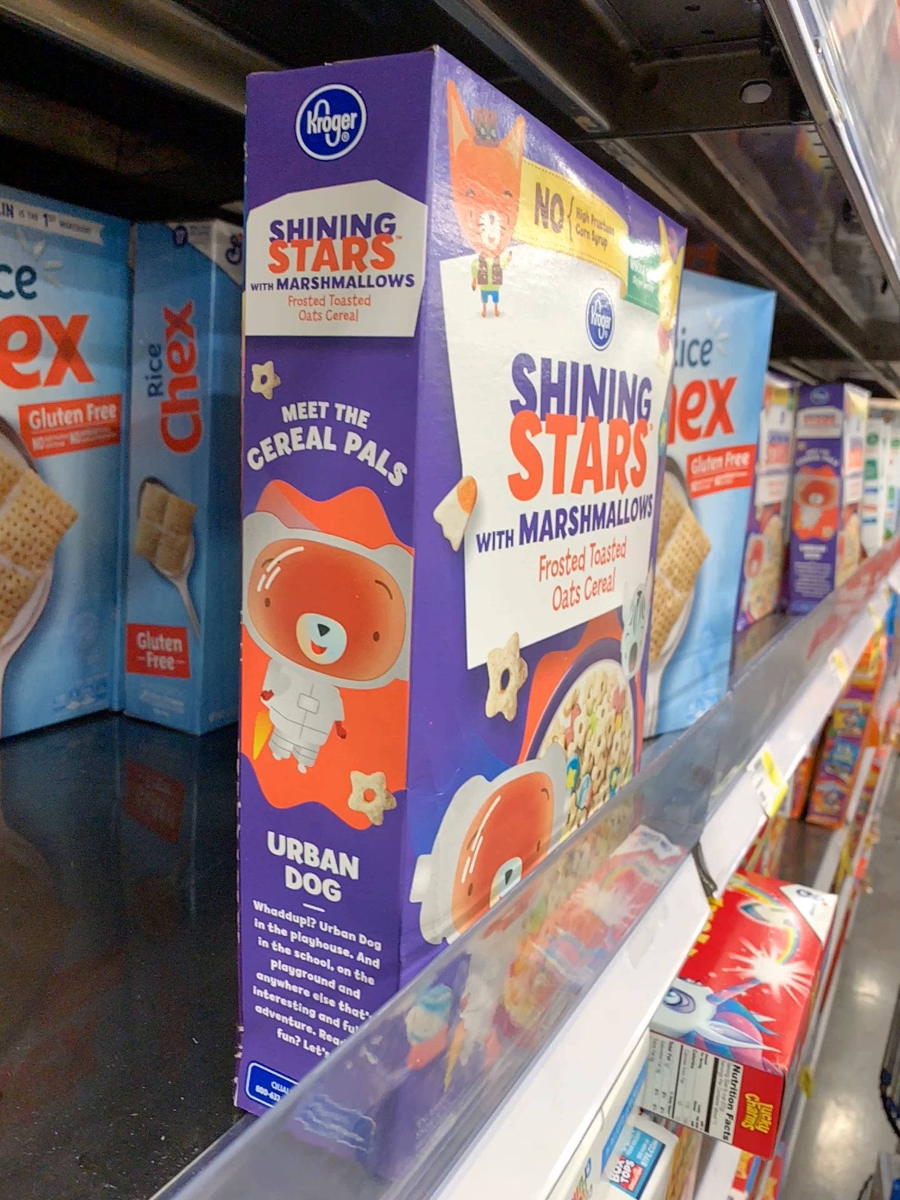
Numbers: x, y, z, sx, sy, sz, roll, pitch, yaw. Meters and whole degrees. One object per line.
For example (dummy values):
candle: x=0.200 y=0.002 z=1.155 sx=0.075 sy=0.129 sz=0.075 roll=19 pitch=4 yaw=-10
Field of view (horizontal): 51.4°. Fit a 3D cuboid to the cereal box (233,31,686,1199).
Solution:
cereal box: x=0.016 y=0.001 z=0.308 sx=0.050 sy=0.269 sz=0.200 roll=8 pitch=12 yaw=27
